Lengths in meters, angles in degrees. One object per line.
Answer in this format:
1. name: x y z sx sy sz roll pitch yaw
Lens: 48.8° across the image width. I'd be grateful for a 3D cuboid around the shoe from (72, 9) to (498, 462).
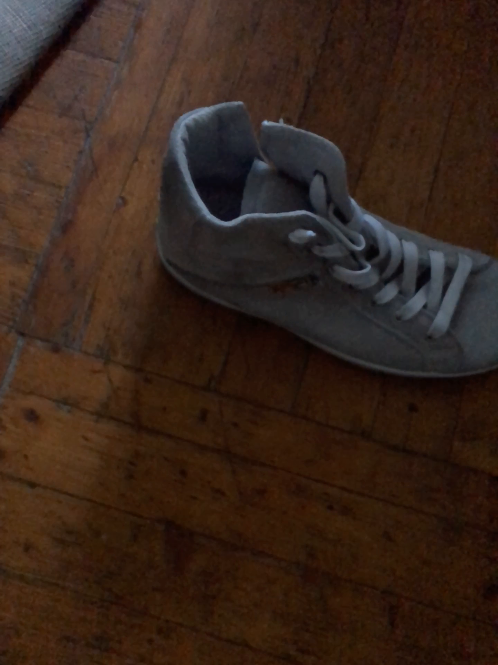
1. shoe: 0.082 -0.043 0.382 0.310 0.220 0.130 21 85 3
